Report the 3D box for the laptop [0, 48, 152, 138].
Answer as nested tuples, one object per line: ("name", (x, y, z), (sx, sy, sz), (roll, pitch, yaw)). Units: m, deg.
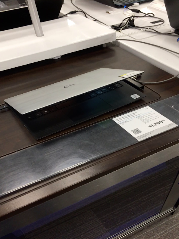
("laptop", (-0.038, -0.083, 0.621), (0.313, 0.074, 0.182), (-24, 48, -16))
